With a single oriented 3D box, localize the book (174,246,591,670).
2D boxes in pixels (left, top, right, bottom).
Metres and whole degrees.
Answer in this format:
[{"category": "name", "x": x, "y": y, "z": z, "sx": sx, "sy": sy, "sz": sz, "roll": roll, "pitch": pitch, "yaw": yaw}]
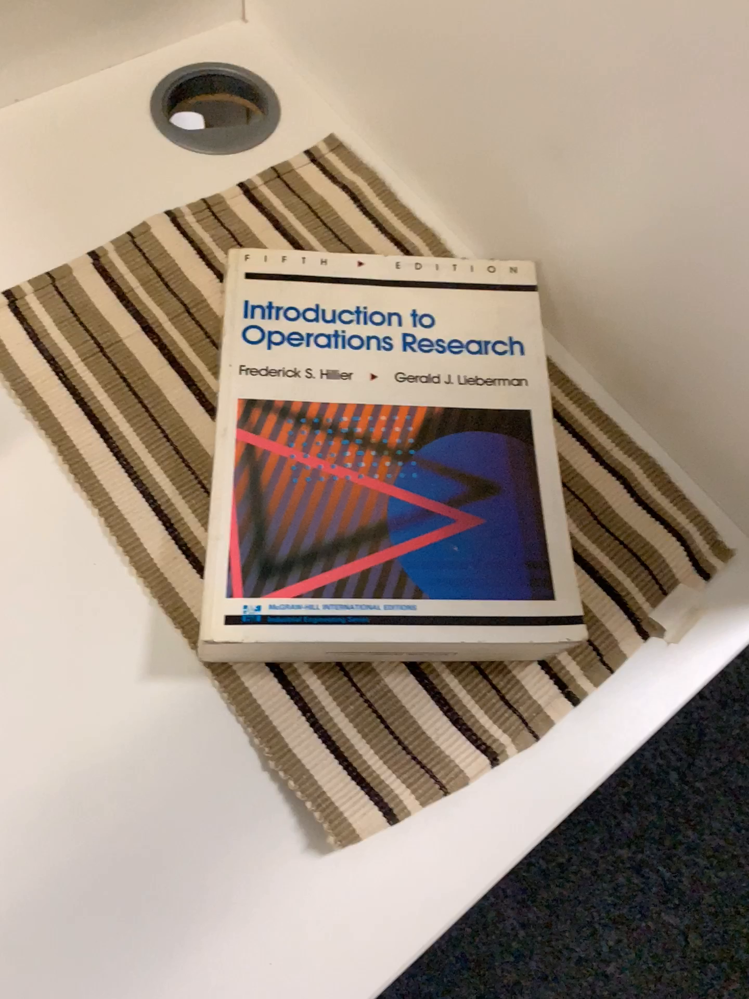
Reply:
[{"category": "book", "x": 0.001, "y": -0.028, "z": 0.431, "sx": 0.196, "sy": 0.053, "sz": 0.235, "roll": 1, "pitch": 65, "yaw": -6}]
